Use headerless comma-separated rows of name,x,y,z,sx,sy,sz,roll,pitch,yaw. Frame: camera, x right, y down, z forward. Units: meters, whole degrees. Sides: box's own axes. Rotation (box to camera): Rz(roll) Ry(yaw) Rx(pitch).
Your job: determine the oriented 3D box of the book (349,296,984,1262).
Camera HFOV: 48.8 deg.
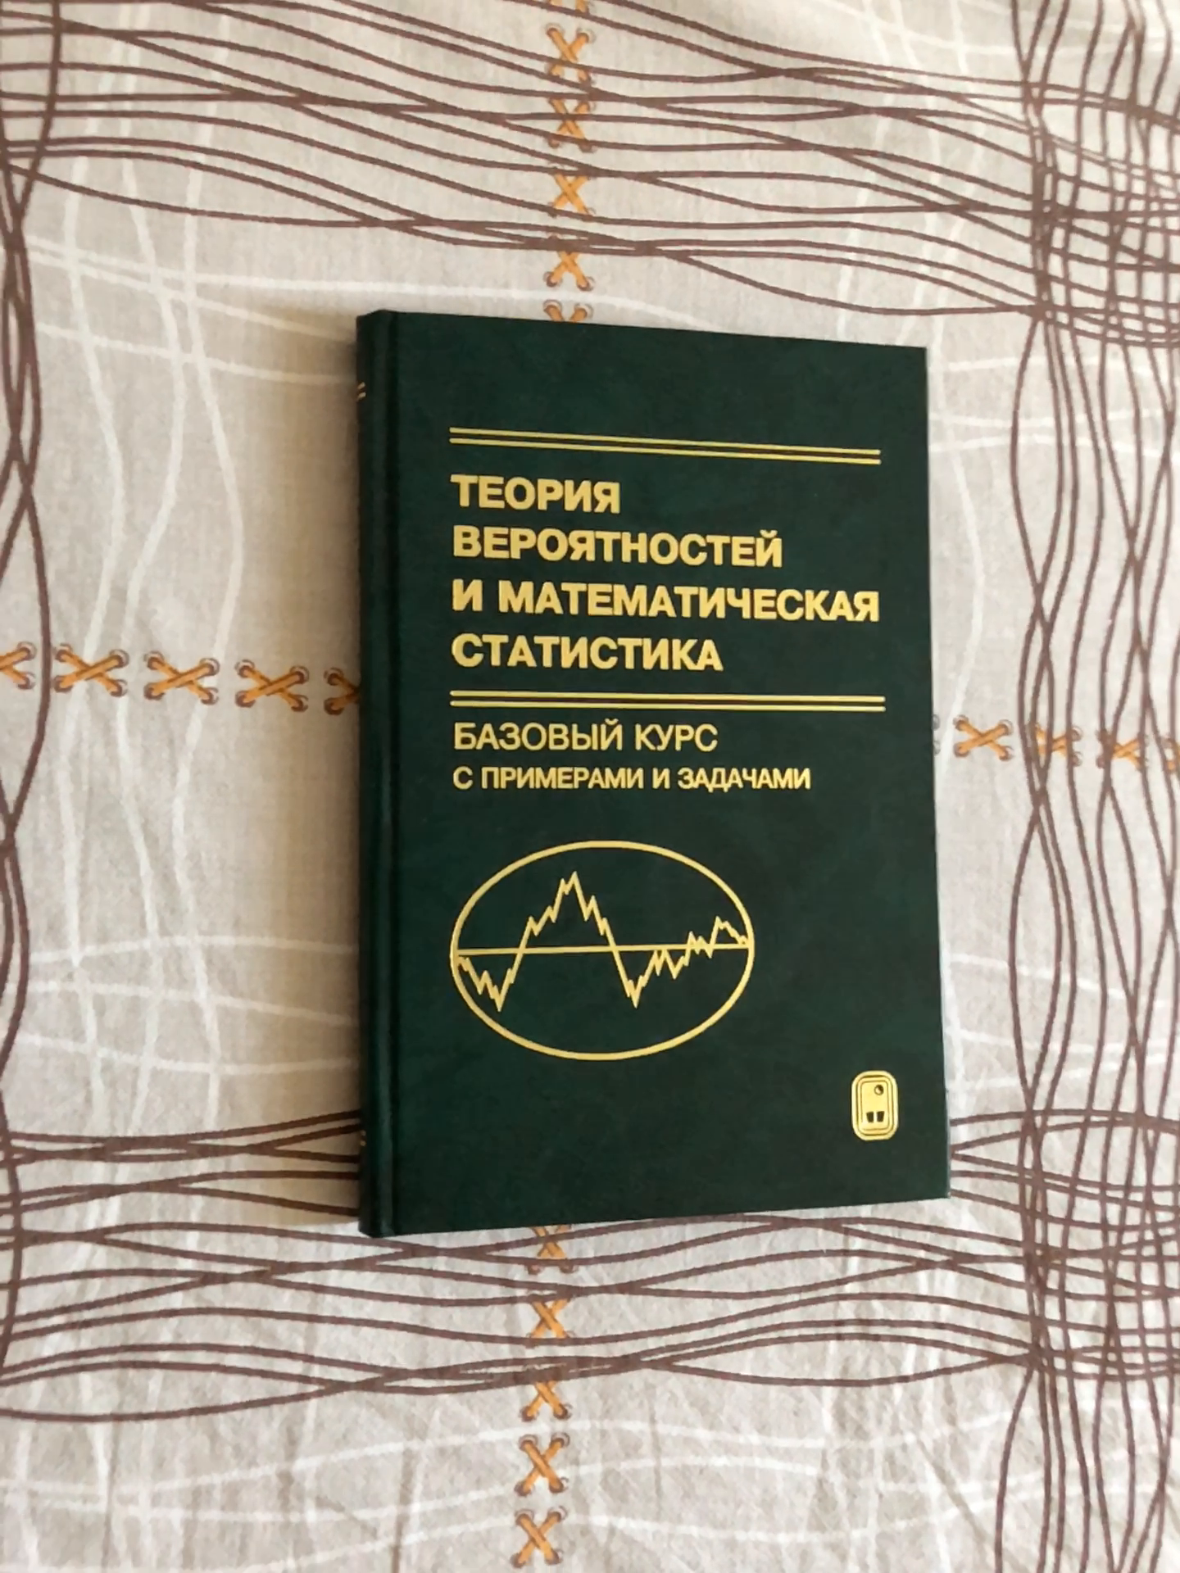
book,0.017,-0.003,0.320,0.150,0.030,0.217,0,86,-11
